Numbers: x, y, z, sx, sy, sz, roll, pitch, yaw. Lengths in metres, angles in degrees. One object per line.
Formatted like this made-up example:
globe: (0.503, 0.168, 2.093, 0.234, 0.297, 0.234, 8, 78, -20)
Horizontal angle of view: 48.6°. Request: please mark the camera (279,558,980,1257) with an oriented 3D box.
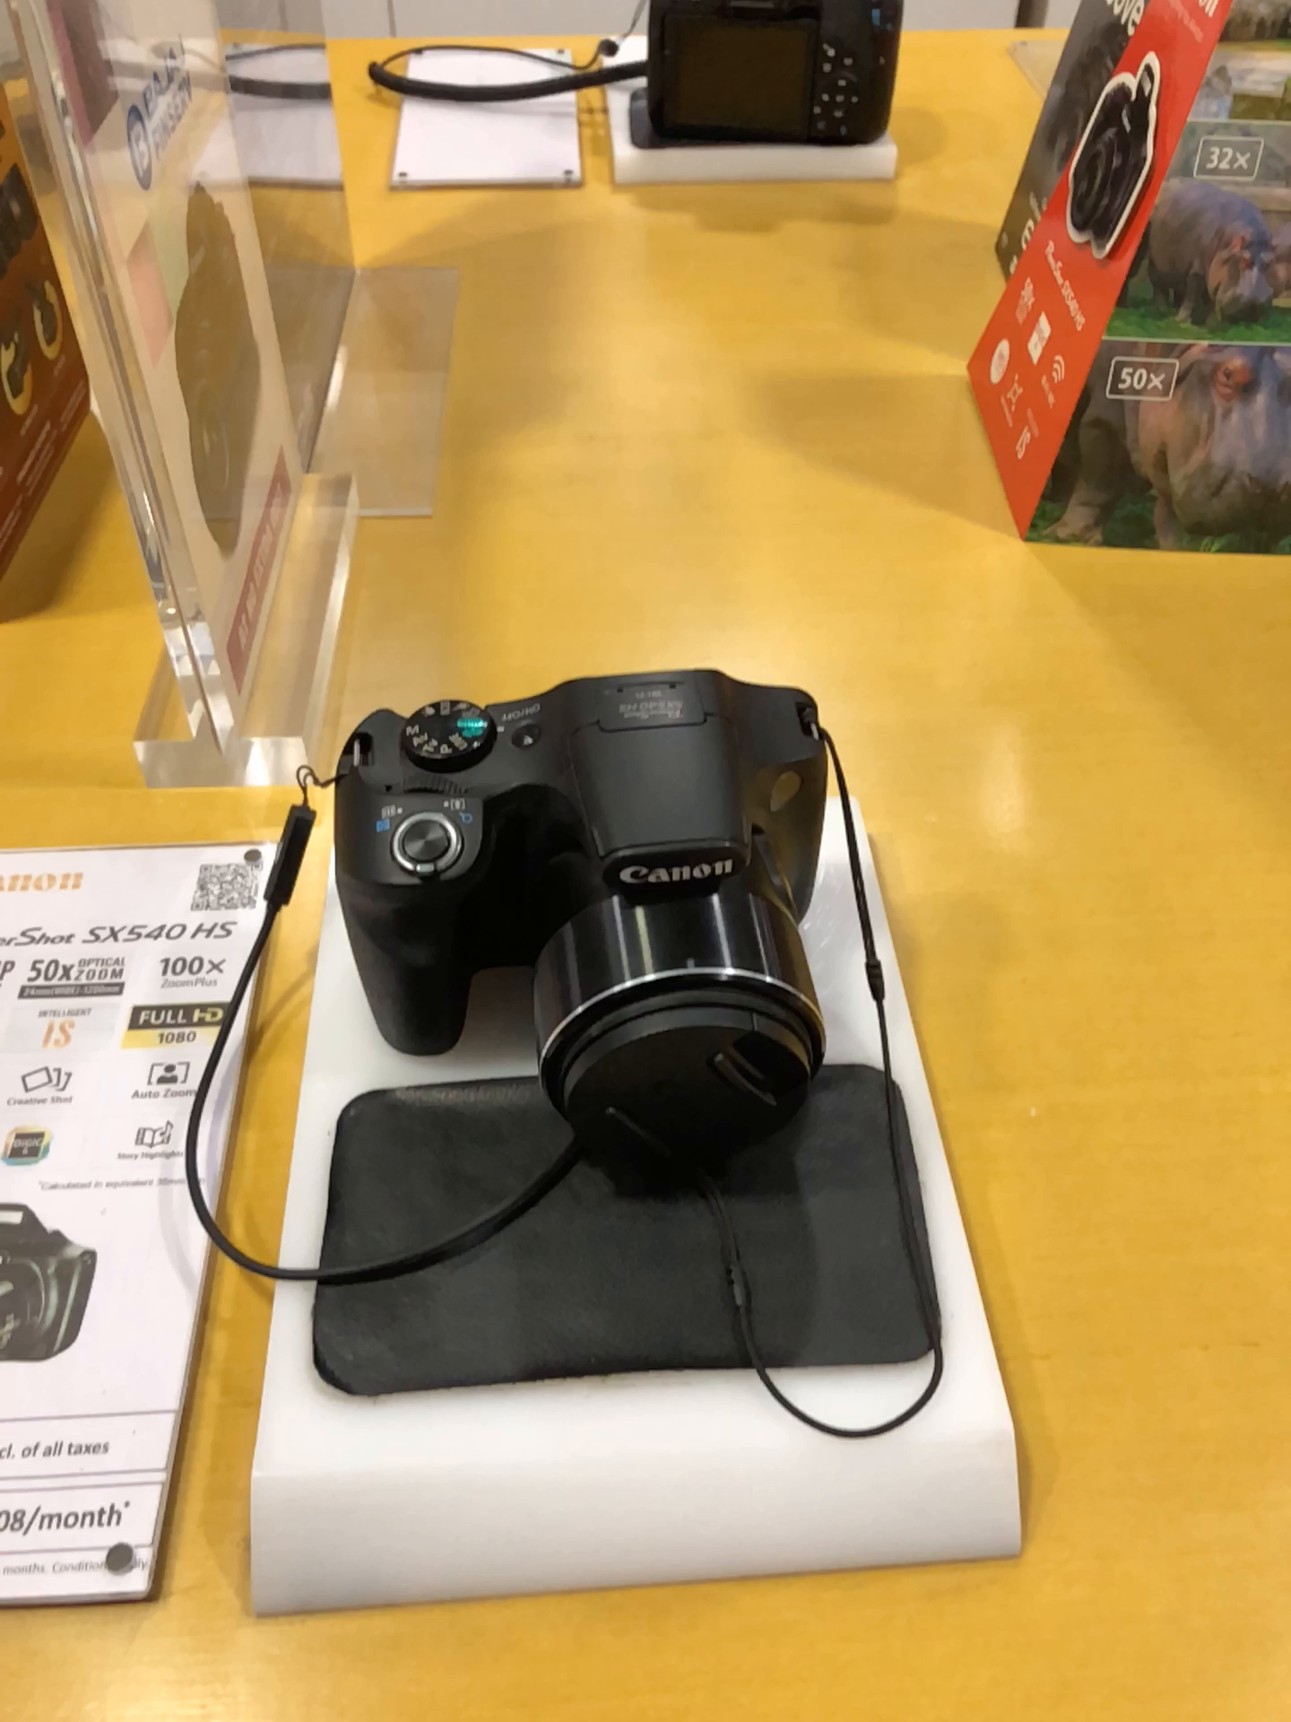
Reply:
camera: (-0.010, 0.006, 0.341, 0.130, 0.089, 0.131, -4, 46, -5)
